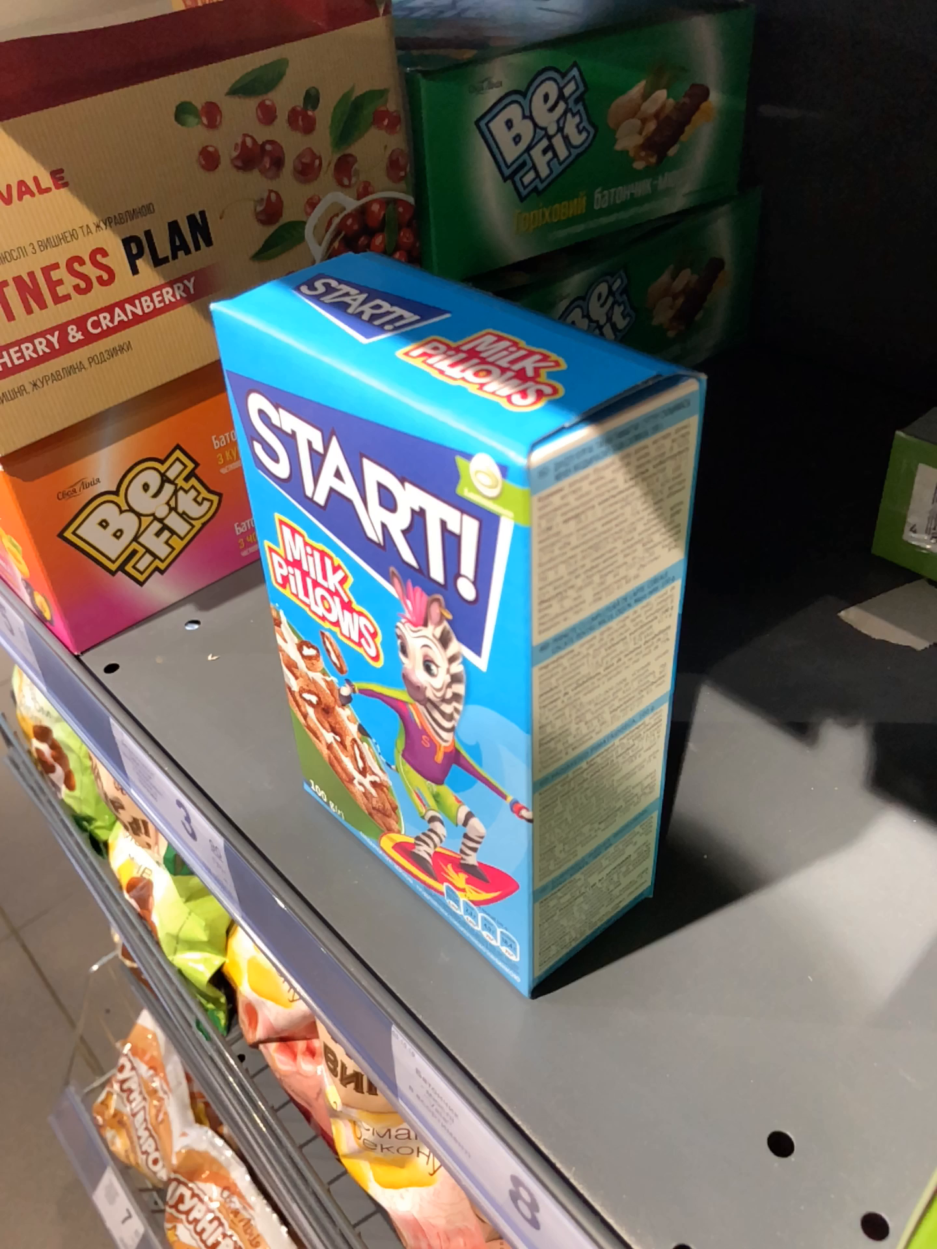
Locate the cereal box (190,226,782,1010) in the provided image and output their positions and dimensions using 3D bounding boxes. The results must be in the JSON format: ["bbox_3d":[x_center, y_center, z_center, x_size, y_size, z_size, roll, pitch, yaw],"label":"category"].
[{"bbox_3d":[0.002,-0.002,0.286,0.070,0.169,0.120,-31,46,-31],"label":"cereal box"}]
